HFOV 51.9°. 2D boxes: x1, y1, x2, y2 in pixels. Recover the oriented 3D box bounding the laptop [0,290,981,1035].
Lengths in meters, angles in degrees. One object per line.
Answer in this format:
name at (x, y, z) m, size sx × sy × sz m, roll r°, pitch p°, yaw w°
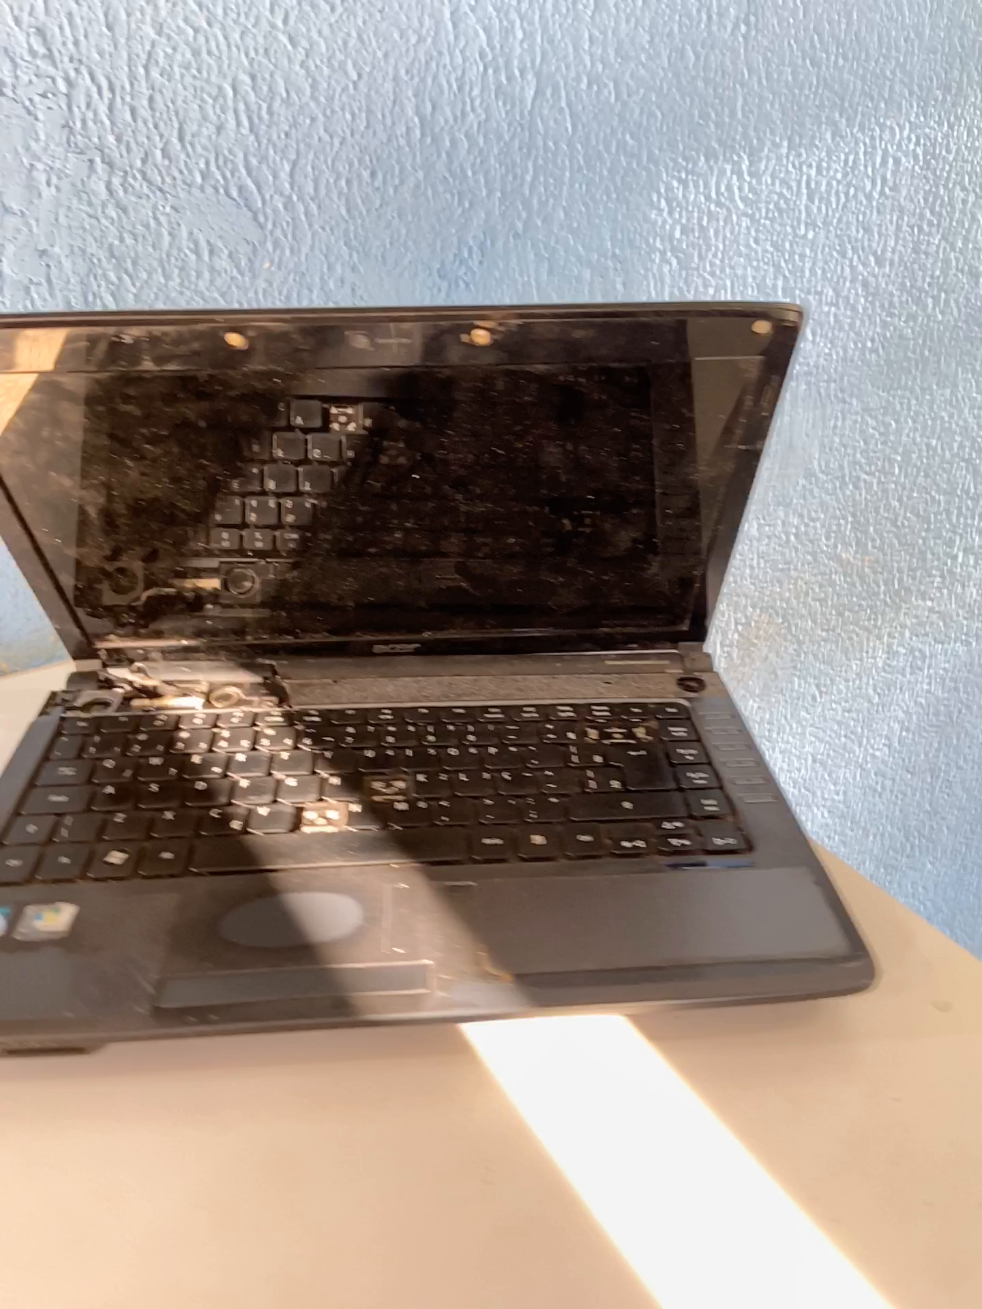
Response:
laptop at (-0.043, -0.021, 0.388) m, size 0.334 × 0.182 × 0.229 m, roll -2°, pitch 29°, yaw -3°
